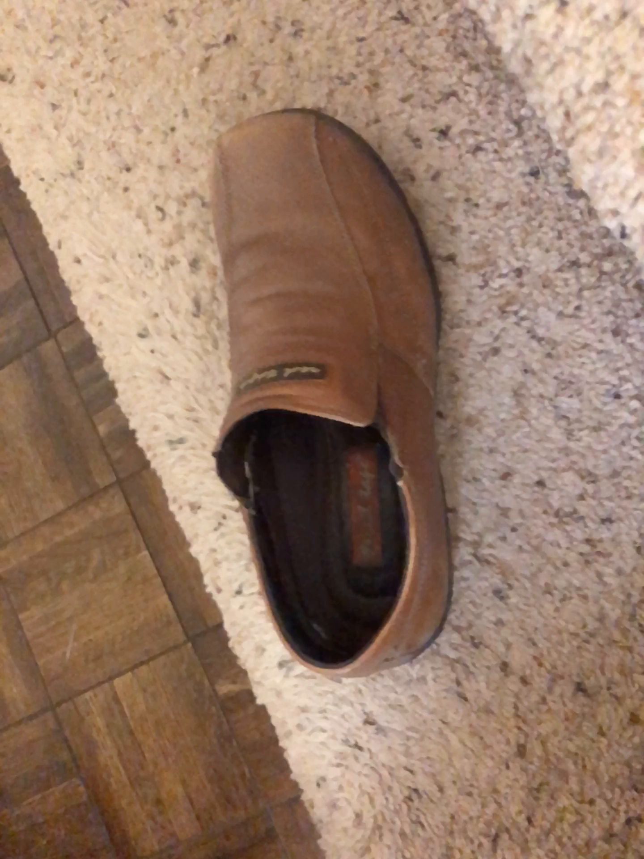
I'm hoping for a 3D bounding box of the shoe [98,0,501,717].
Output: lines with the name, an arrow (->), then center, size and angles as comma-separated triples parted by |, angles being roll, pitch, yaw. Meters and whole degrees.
shoe -> -0.002, -0.037, 0.340 | 0.110, 0.120, 0.290 | -12, 85, 15
